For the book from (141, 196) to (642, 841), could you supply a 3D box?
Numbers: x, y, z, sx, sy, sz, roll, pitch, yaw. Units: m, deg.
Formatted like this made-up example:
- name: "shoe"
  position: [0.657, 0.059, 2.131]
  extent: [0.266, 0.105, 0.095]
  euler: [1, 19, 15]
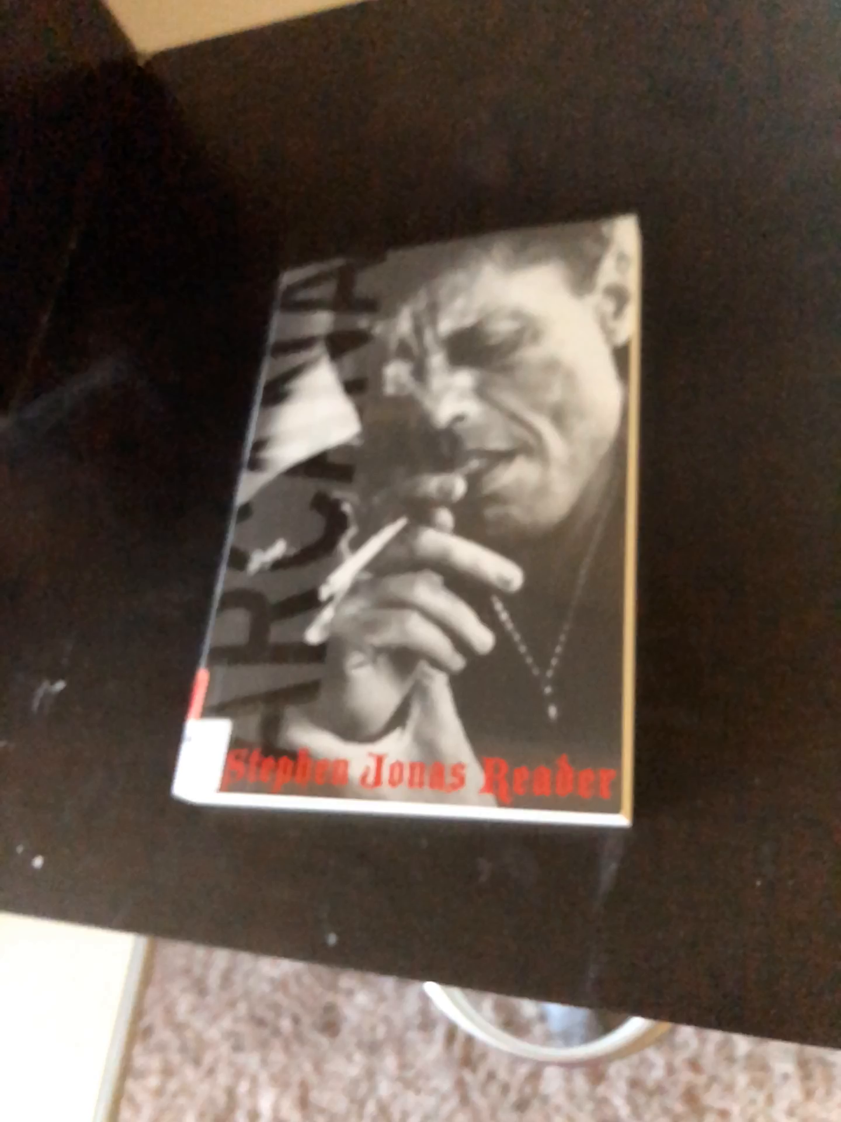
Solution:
- name: "book"
  position: [-0.004, -0.027, 0.389]
  extent: [0.179, 0.024, 0.260]
  euler: [-2, 65, 20]
